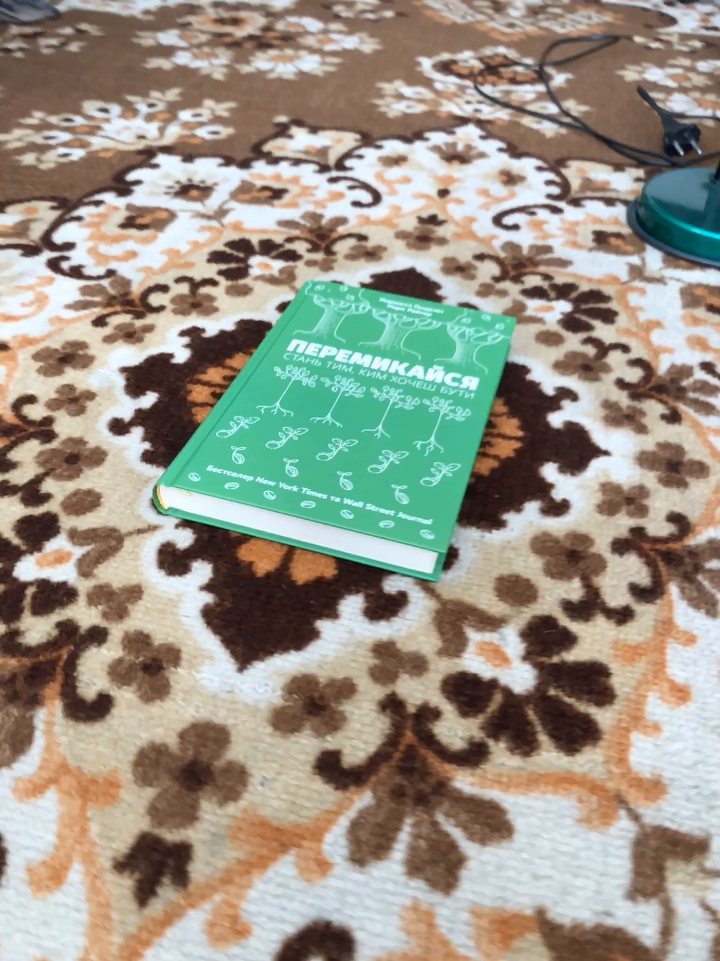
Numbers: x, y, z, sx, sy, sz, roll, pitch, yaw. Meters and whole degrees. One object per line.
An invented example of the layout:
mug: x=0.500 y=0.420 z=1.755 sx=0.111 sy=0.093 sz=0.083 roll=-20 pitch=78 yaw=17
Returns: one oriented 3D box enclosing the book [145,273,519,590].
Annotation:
book: x=-0.001 y=-0.042 z=0.419 sx=0.137 sy=0.023 sz=0.203 roll=13 pitch=44 yaw=11
